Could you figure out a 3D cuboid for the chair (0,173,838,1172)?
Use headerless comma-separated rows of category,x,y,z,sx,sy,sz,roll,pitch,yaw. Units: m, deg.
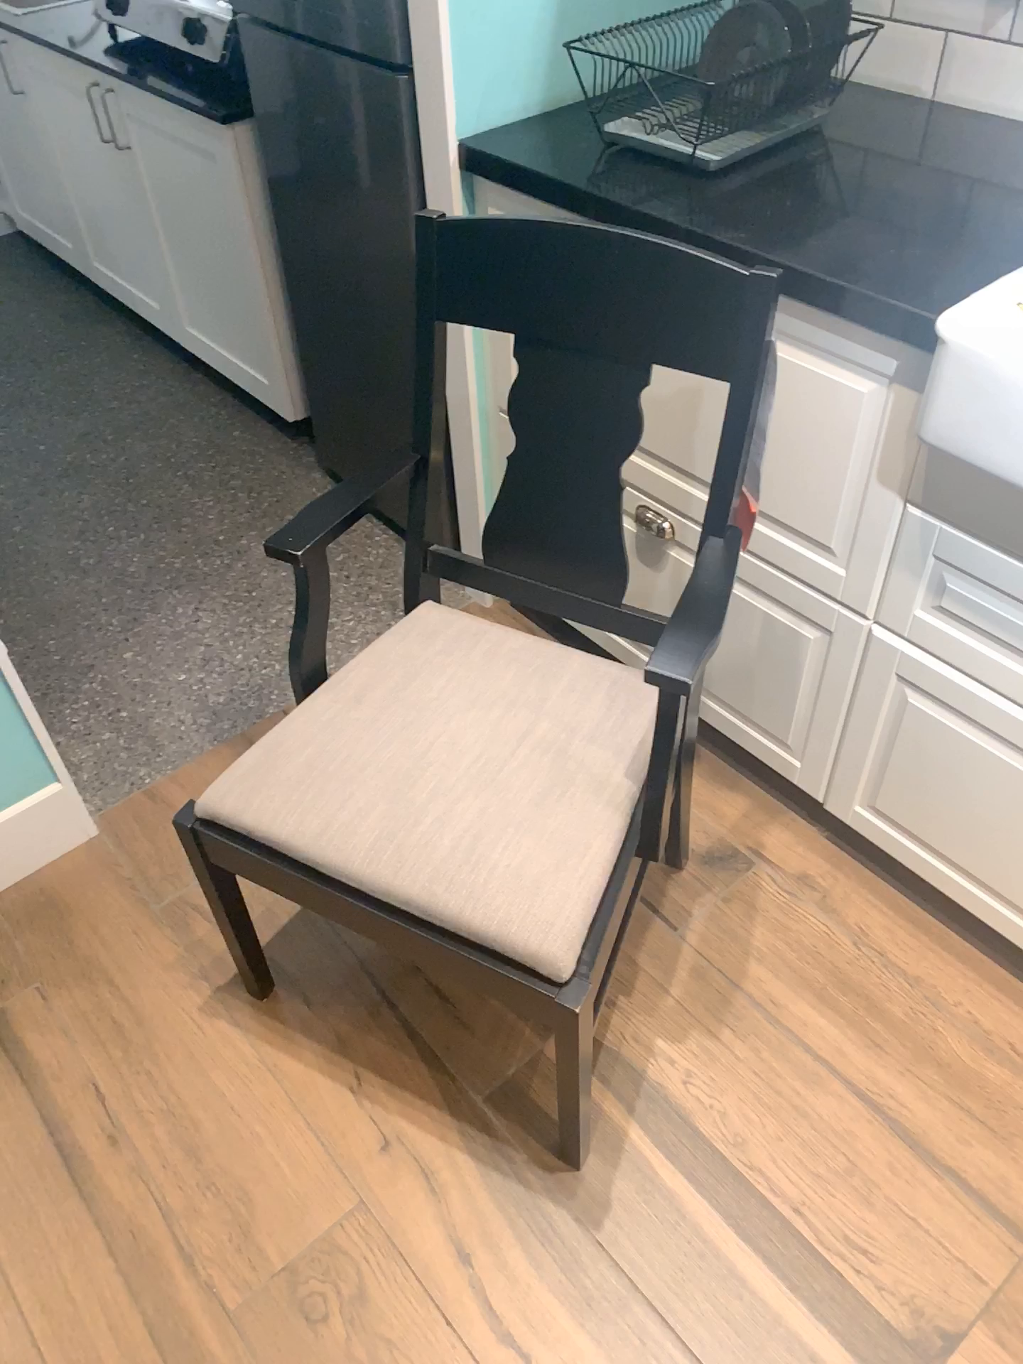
chair,-0.058,0.000,1.232,0.571,0.887,0.592,19,49,22
